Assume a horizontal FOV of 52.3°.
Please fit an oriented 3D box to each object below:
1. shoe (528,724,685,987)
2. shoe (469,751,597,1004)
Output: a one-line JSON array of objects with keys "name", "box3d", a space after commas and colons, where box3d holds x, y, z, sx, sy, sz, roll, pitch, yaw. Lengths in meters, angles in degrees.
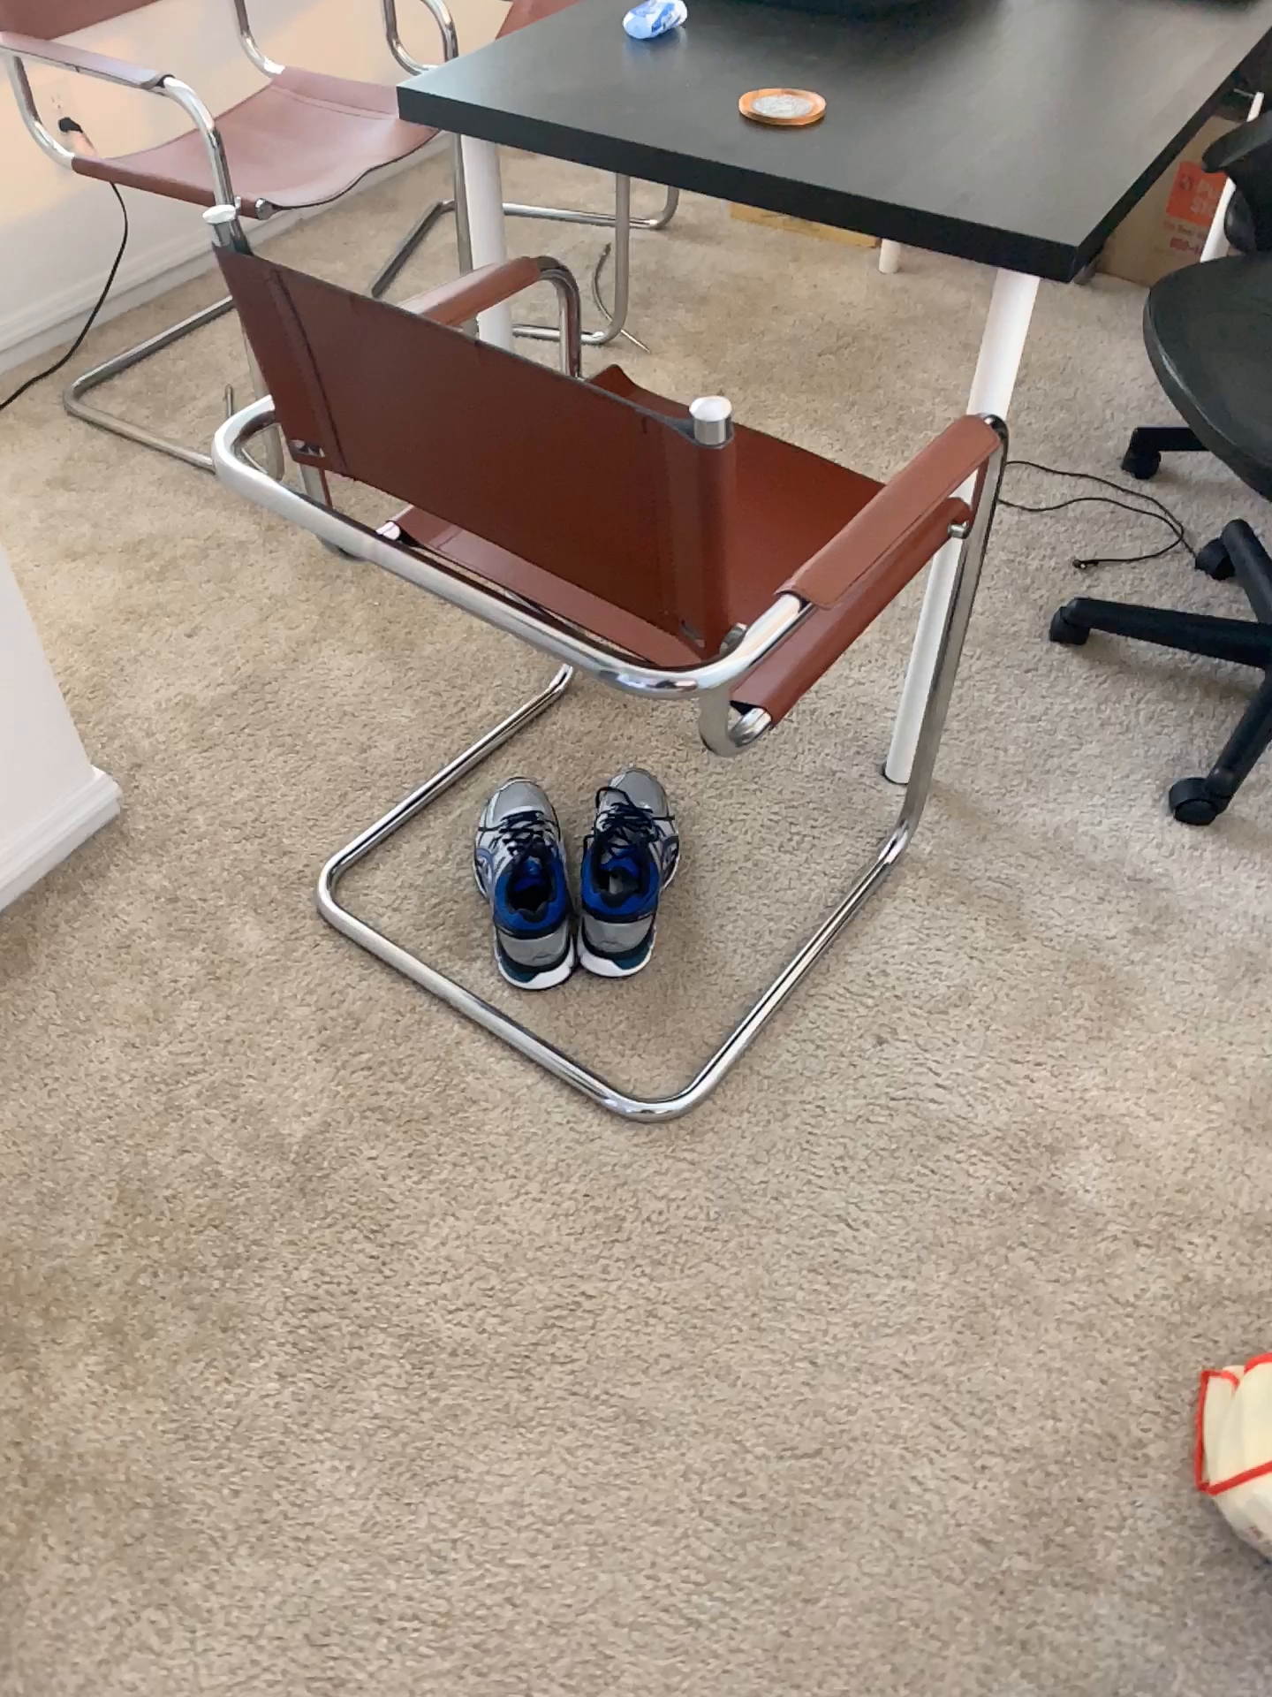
[{"name": "shoe", "box3d": [-0.029, 0.001, 1.528, 0.130, 0.099, 0.312, 7, 48, 5]}, {"name": "shoe", "box3d": [-0.130, 0.028, 1.590, 0.130, 0.099, 0.312, -5, 48, -6]}]
